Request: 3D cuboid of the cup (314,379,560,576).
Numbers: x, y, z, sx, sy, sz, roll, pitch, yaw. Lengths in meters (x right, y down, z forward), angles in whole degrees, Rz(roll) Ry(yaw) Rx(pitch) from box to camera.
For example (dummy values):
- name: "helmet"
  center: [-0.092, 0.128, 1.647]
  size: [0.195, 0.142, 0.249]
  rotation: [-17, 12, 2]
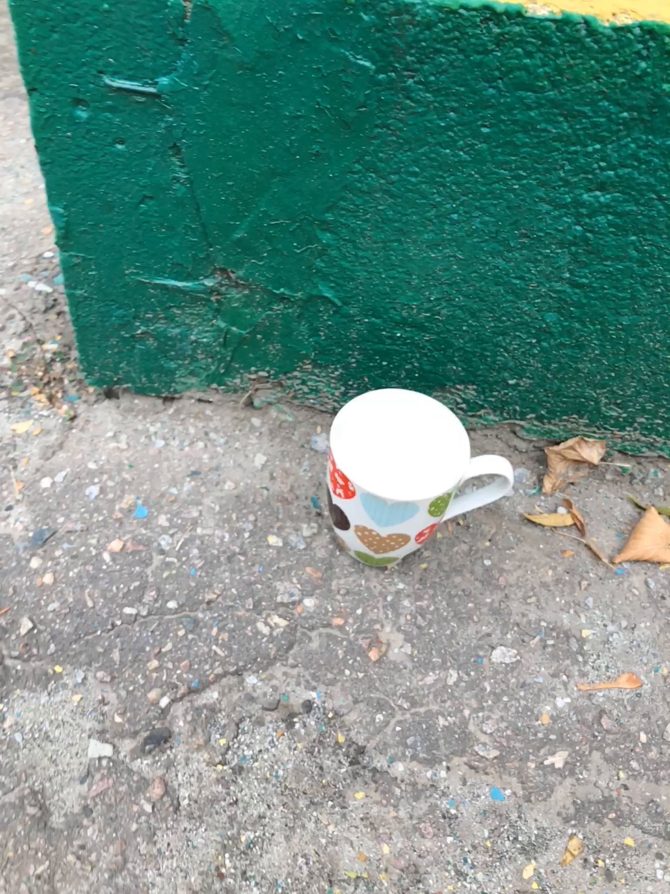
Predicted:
- name: "cup"
  center: [0.055, 0.018, 0.450]
  size: [0.116, 0.079, 0.082]
  rotation: [-3, 52, -12]
